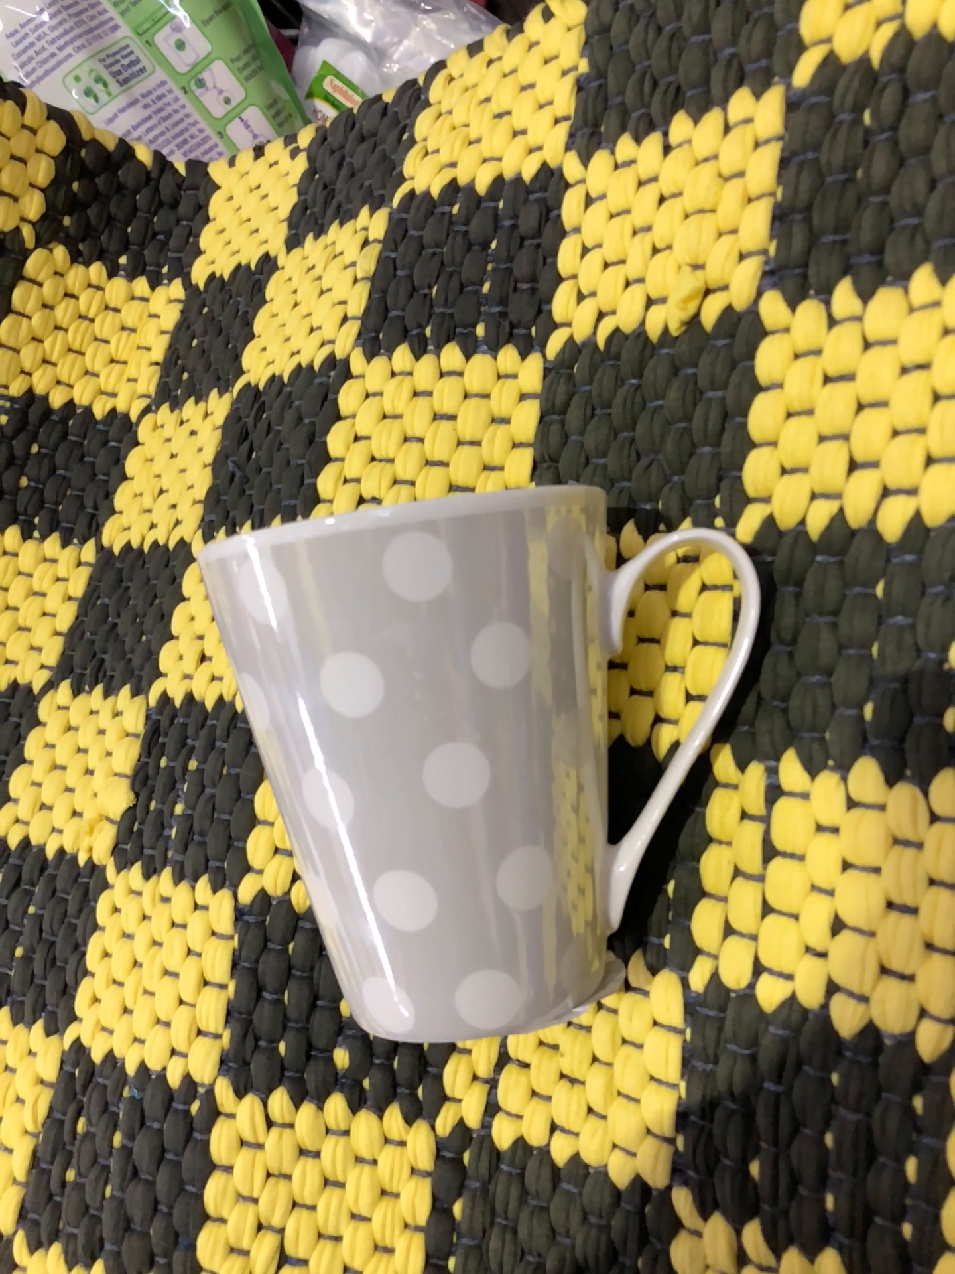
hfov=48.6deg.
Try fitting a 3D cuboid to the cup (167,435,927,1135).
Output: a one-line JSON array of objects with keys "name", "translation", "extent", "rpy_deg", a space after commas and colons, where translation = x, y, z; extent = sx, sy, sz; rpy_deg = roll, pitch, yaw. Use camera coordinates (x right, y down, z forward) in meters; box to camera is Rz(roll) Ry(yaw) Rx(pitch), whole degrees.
[{"name": "cup", "translation": [0.008, 0.022, 0.225], "extent": [0.120, 0.090, 0.100], "rpy_deg": [-9, 92, -10]}]
